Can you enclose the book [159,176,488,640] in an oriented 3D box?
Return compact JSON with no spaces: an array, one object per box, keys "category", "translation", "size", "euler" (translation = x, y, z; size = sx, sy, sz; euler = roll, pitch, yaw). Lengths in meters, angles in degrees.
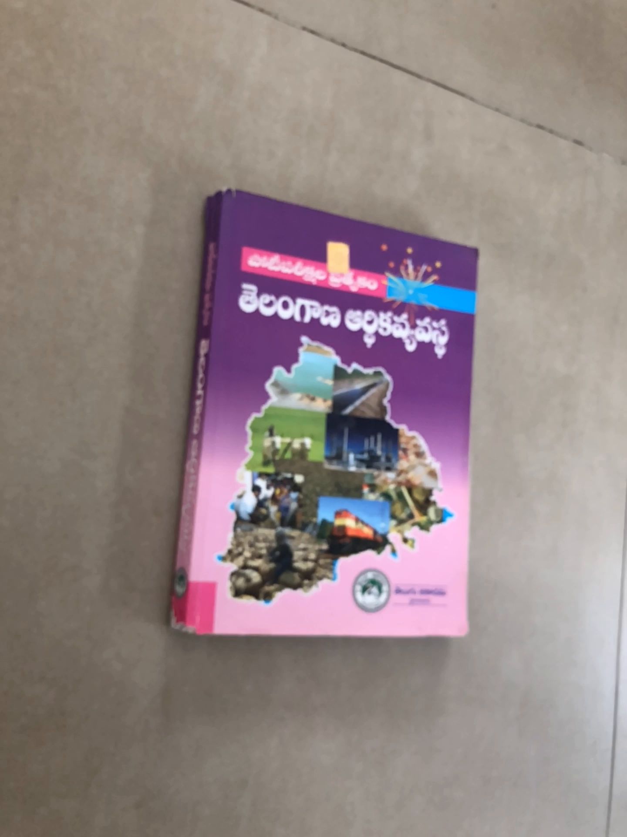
[{"category":"book","translation":[0.014,0.002,0.457],"size":[0.191,0.040,0.268],"euler":[8,83,-22]}]
